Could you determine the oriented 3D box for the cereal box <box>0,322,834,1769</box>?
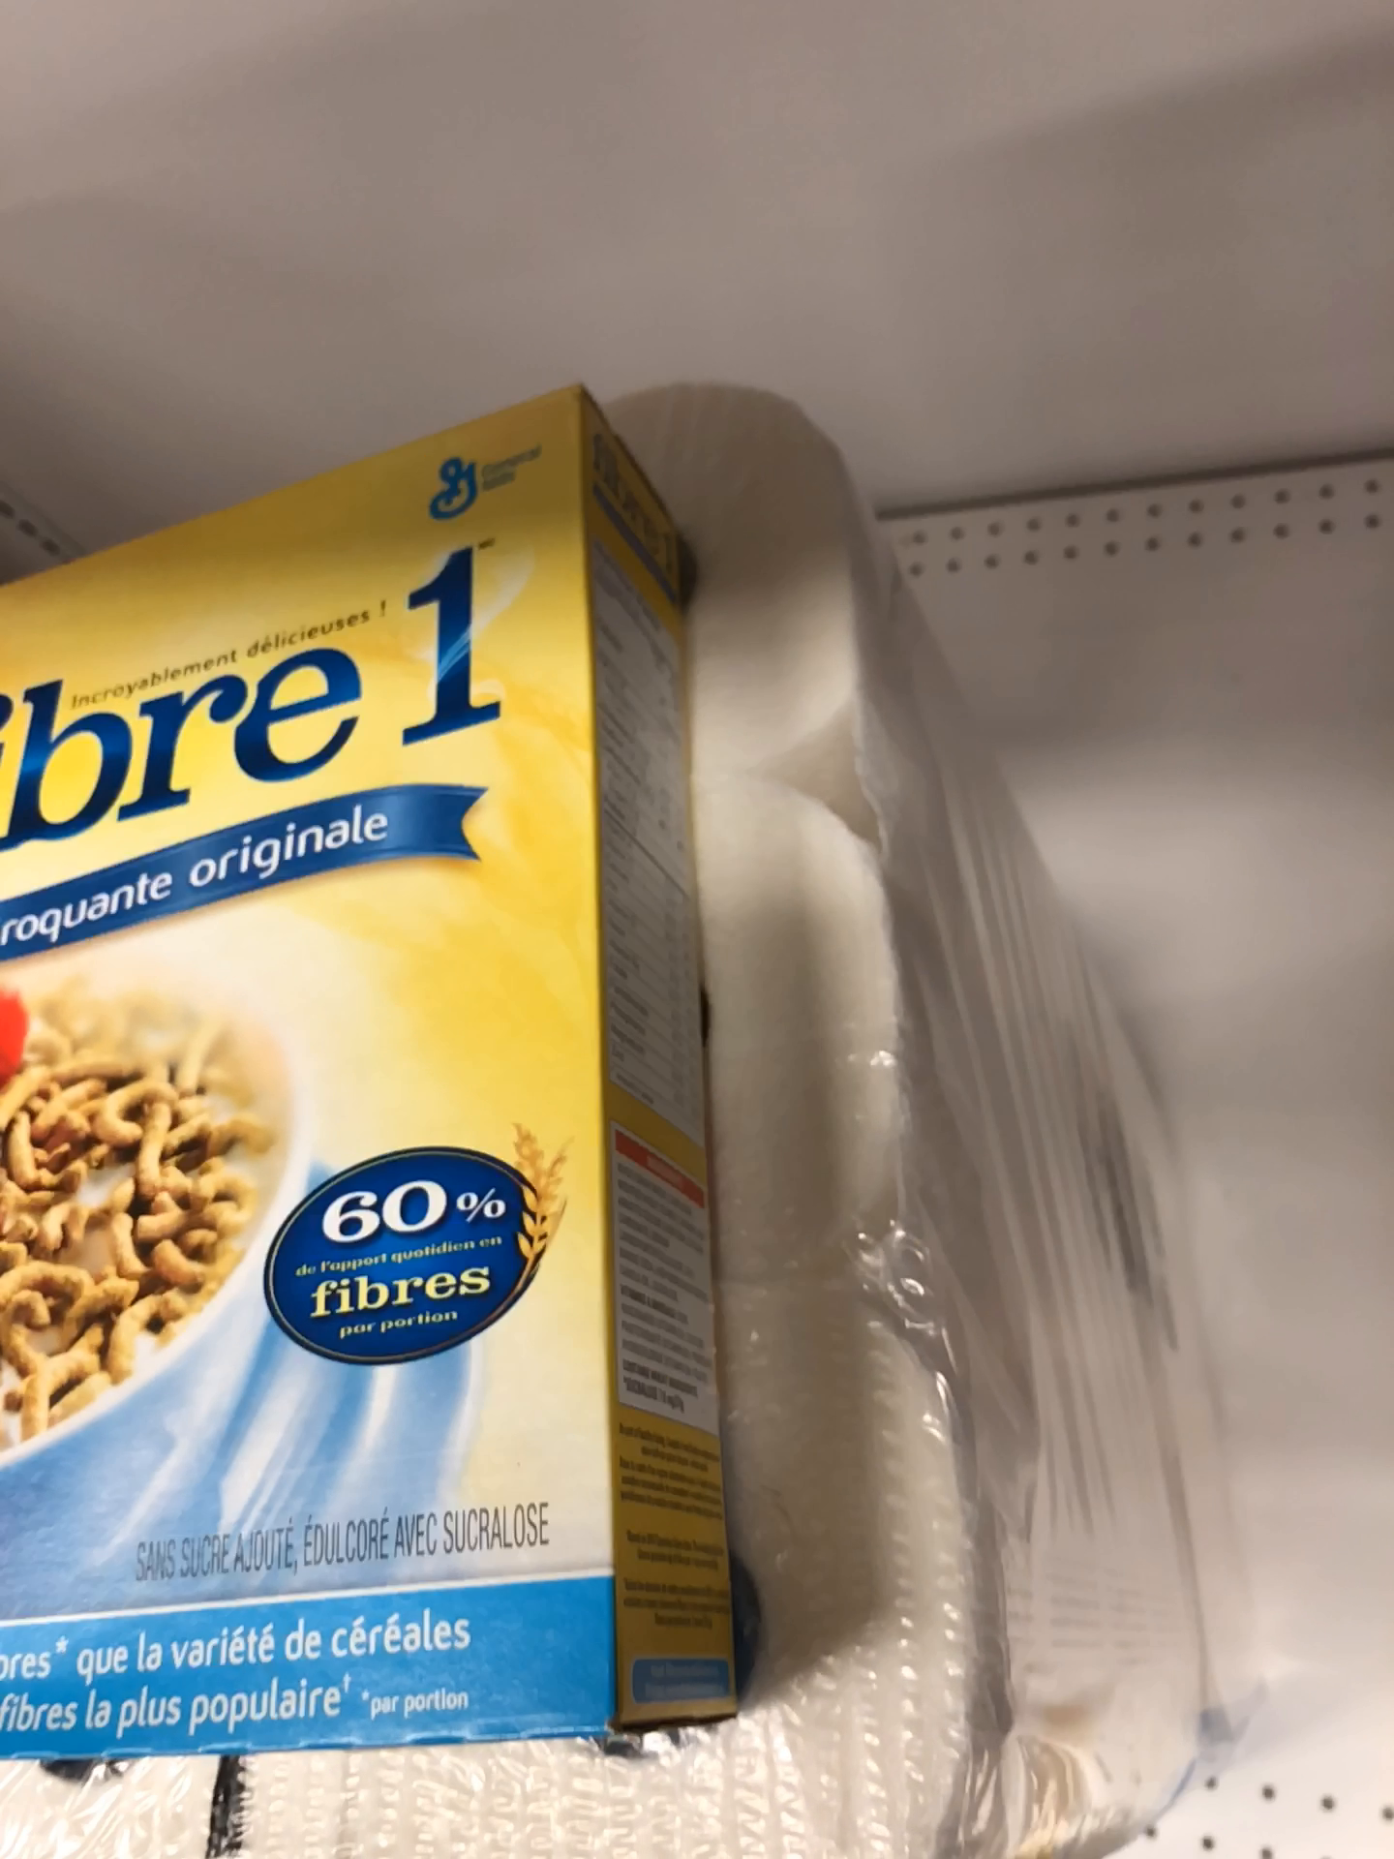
[{"bbox_3d":[-0.088,0.024,0.329,0.200,0.060,0.260,-12,65,19],"label":"cereal box"}]
